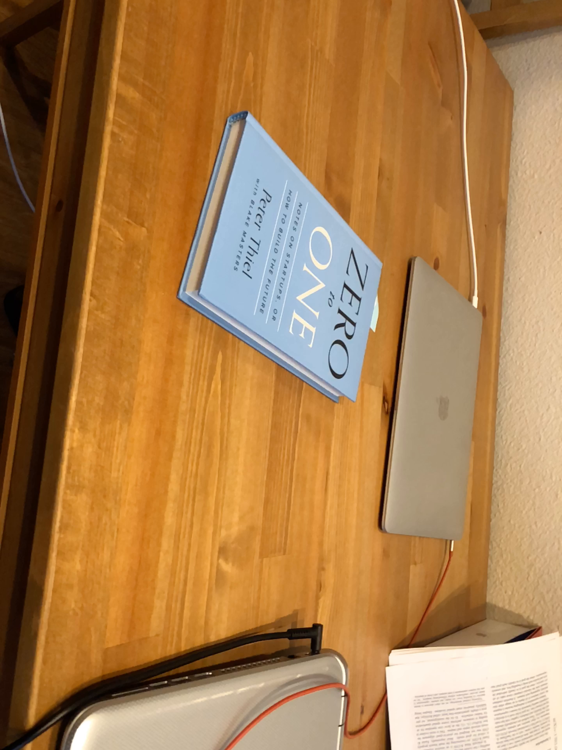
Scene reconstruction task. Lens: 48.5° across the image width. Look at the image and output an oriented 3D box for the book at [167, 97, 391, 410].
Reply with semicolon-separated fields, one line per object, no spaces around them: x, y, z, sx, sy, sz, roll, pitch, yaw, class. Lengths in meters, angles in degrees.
0.015;-0.077;0.482;0.211;0.030;0.150;32;64;-49;book
